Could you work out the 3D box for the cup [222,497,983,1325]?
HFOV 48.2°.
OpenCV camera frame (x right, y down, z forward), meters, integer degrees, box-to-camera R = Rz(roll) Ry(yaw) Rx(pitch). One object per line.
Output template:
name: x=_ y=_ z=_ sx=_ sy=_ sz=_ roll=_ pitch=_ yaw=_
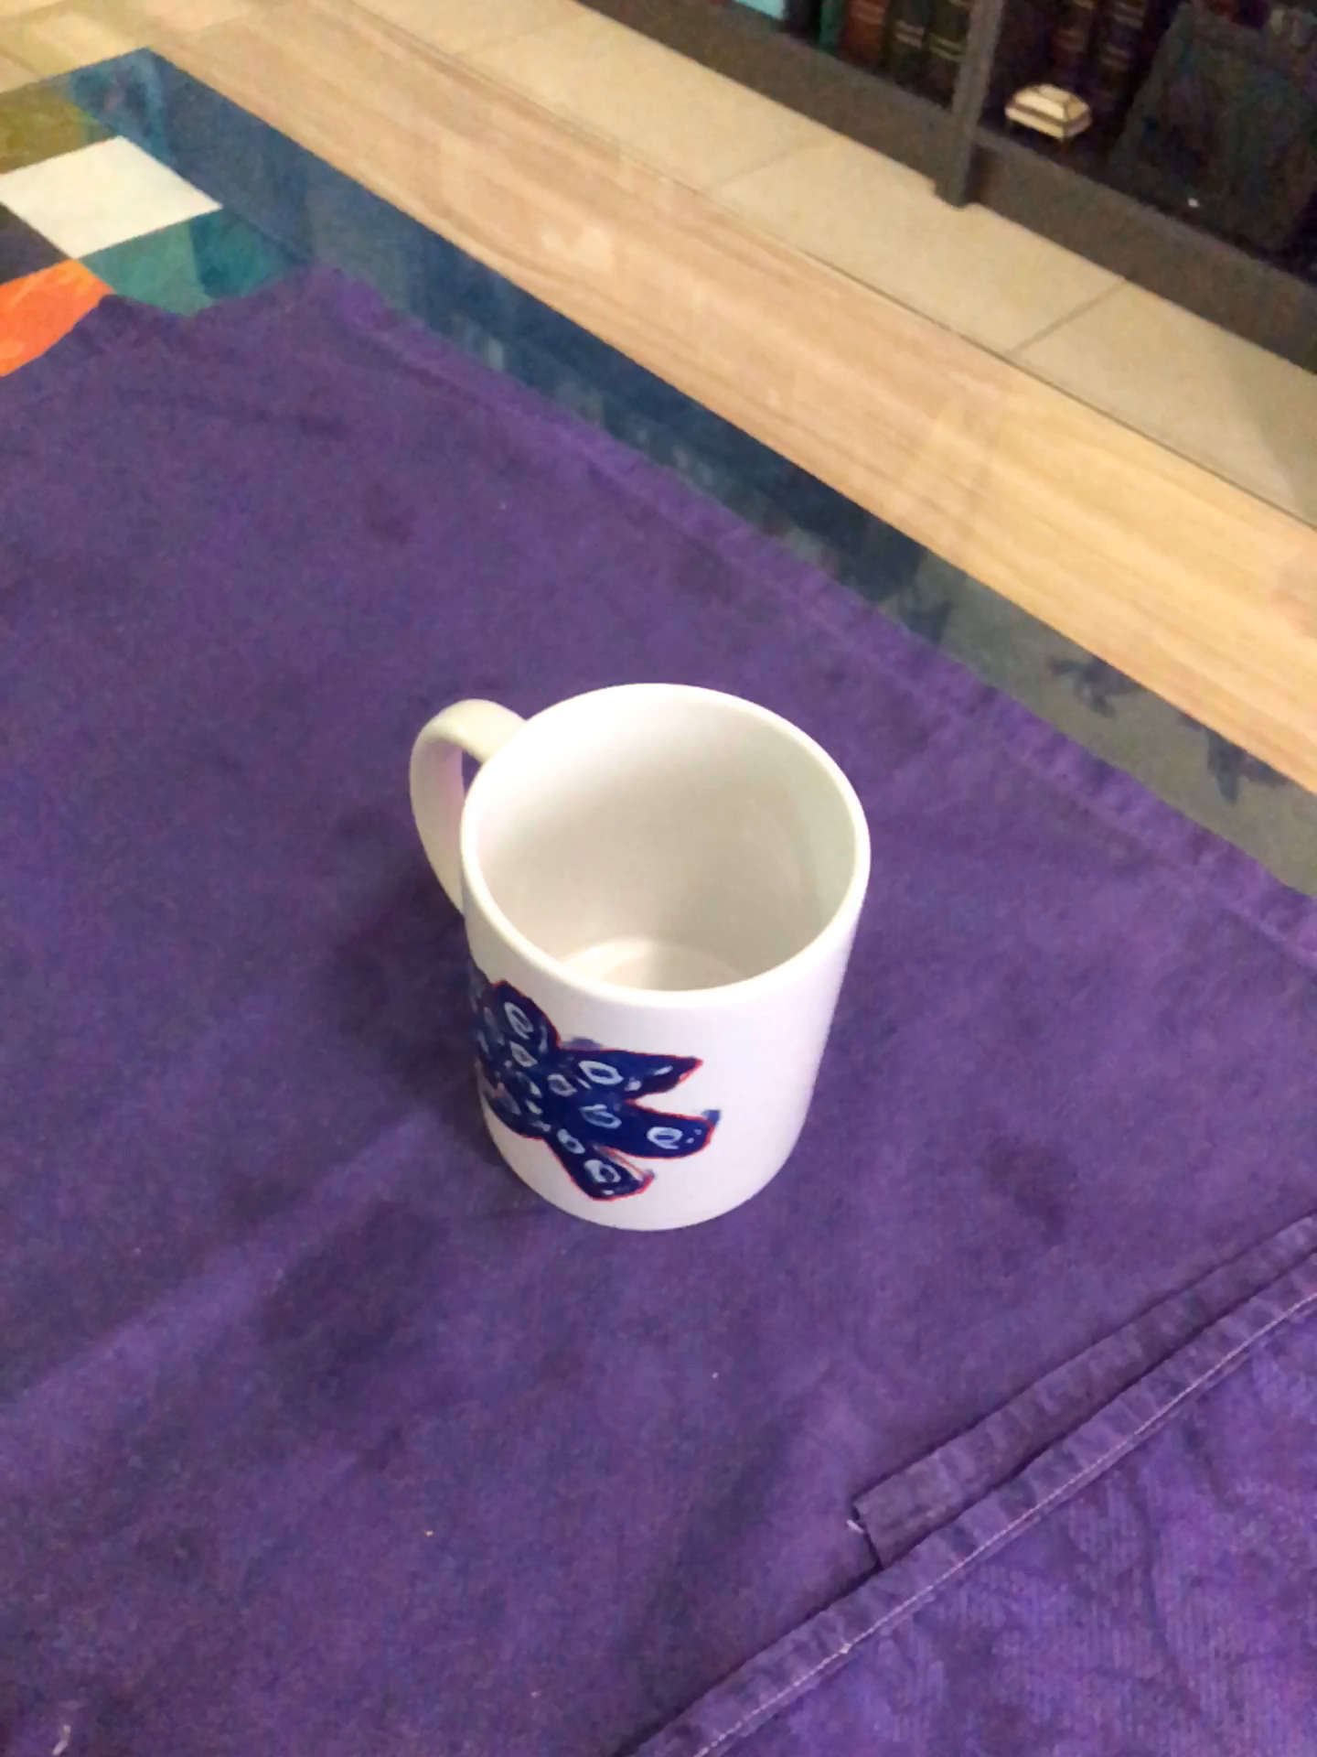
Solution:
cup: x=-0.016 y=0.004 z=0.312 sx=0.080 sy=0.090 sz=0.130 roll=-31 pitch=60 yaw=-25
